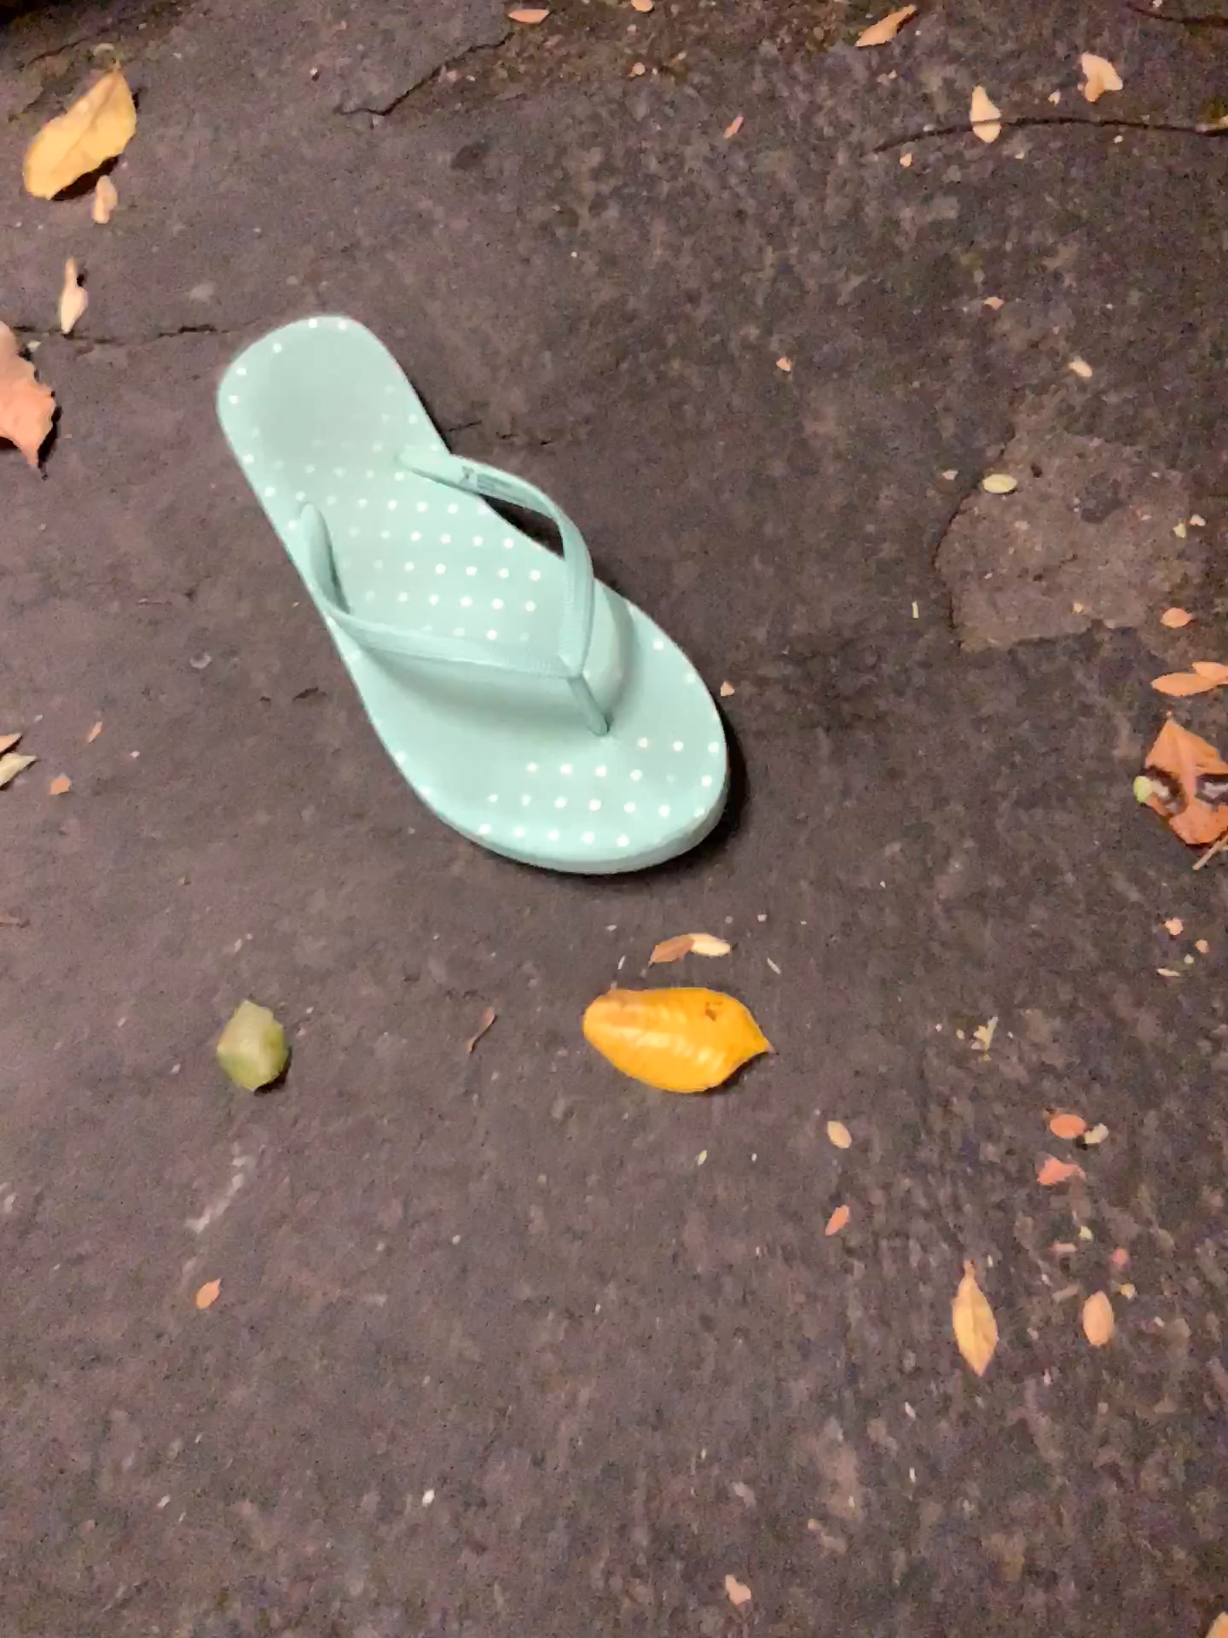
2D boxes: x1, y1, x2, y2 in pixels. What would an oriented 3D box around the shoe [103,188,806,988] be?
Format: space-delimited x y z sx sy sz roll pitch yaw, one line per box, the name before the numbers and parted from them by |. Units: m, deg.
shoe | -0.063 -0.092 0.495 0.120 0.050 0.280 -32 71 -7
